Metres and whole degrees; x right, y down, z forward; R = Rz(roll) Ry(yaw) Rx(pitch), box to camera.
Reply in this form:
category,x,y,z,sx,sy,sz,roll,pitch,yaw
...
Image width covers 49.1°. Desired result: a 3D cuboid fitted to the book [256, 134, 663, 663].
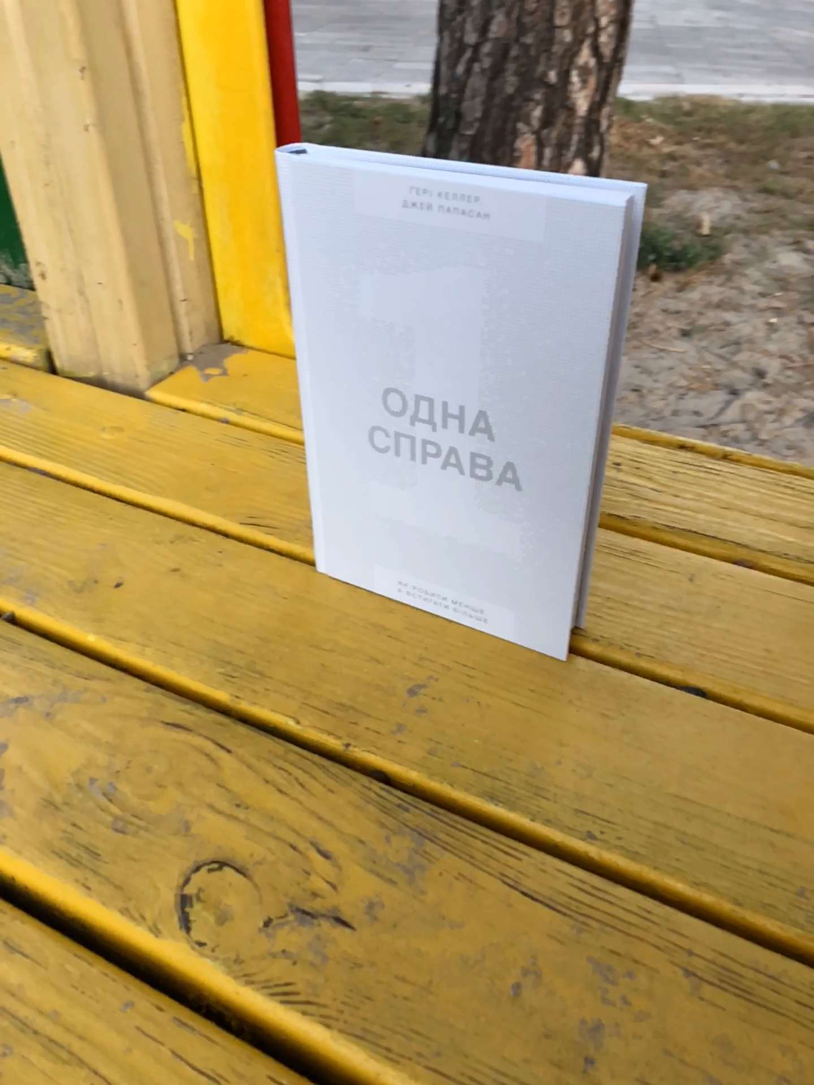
category,x,y,z,sx,sy,sz,roll,pitch,yaw
book,0.017,-0.057,0.394,0.154,0.208,0.030,18,41,24
